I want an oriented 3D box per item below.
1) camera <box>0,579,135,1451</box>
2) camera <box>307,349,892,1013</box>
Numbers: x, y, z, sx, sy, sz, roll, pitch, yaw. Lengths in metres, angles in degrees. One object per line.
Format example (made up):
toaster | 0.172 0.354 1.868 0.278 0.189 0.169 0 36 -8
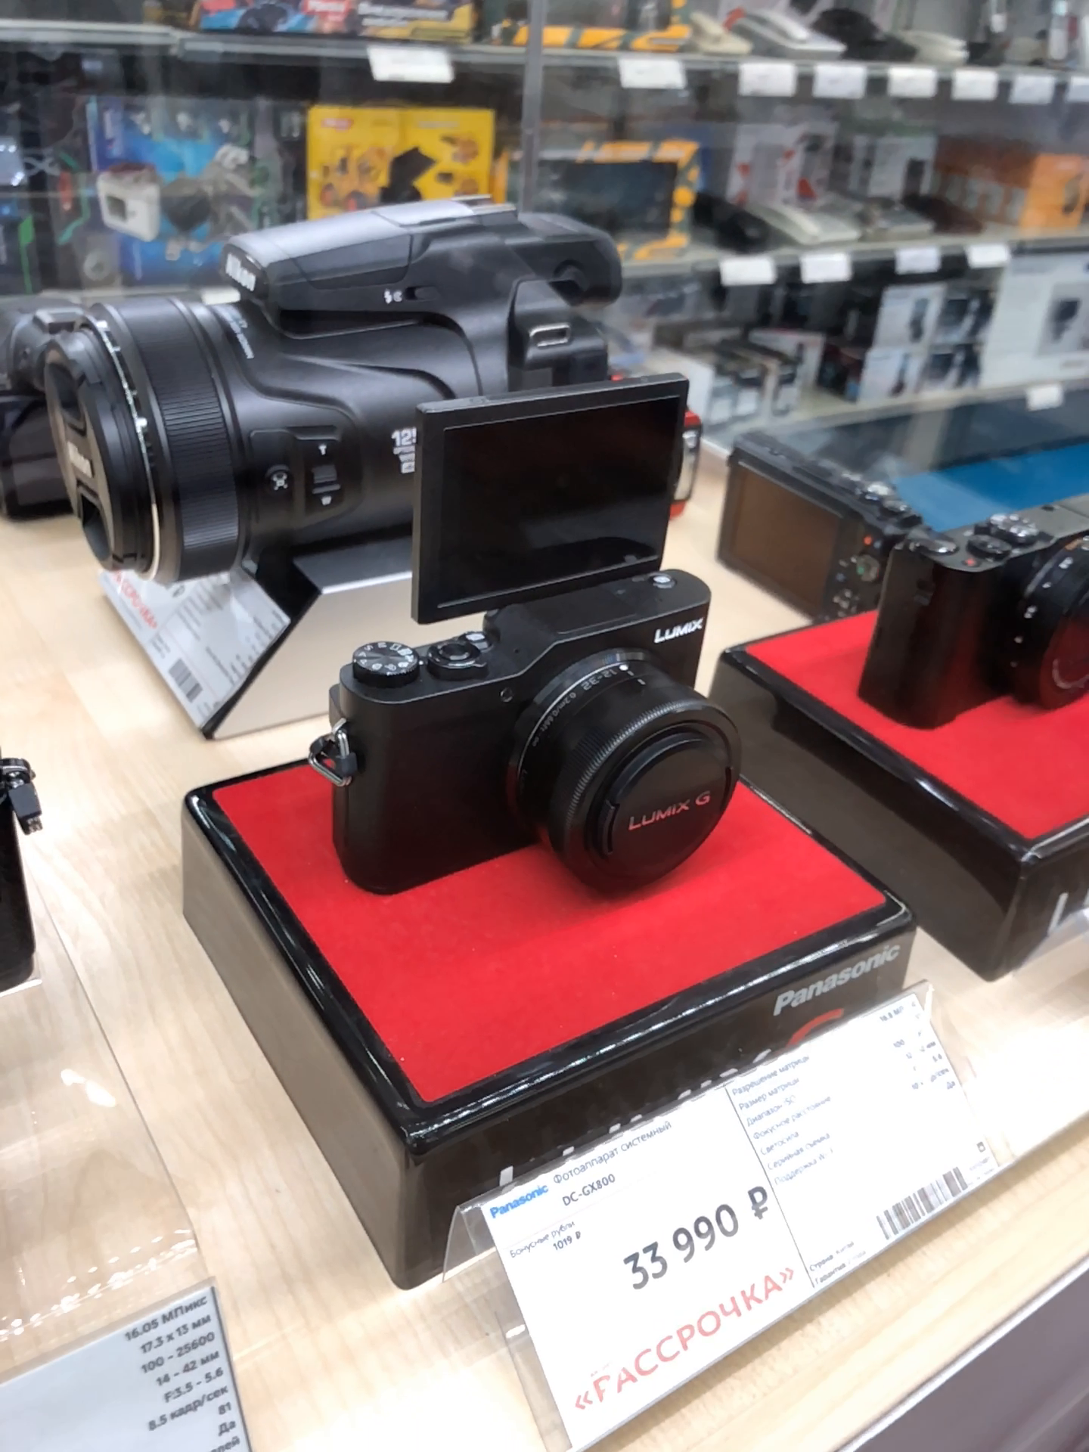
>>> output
camera | -0.147 0.040 0.216 0.108 0.080 0.103 -15 37 -30
camera | 0.009 -0.017 0.294 0.108 0.120 0.070 -18 39 -33
